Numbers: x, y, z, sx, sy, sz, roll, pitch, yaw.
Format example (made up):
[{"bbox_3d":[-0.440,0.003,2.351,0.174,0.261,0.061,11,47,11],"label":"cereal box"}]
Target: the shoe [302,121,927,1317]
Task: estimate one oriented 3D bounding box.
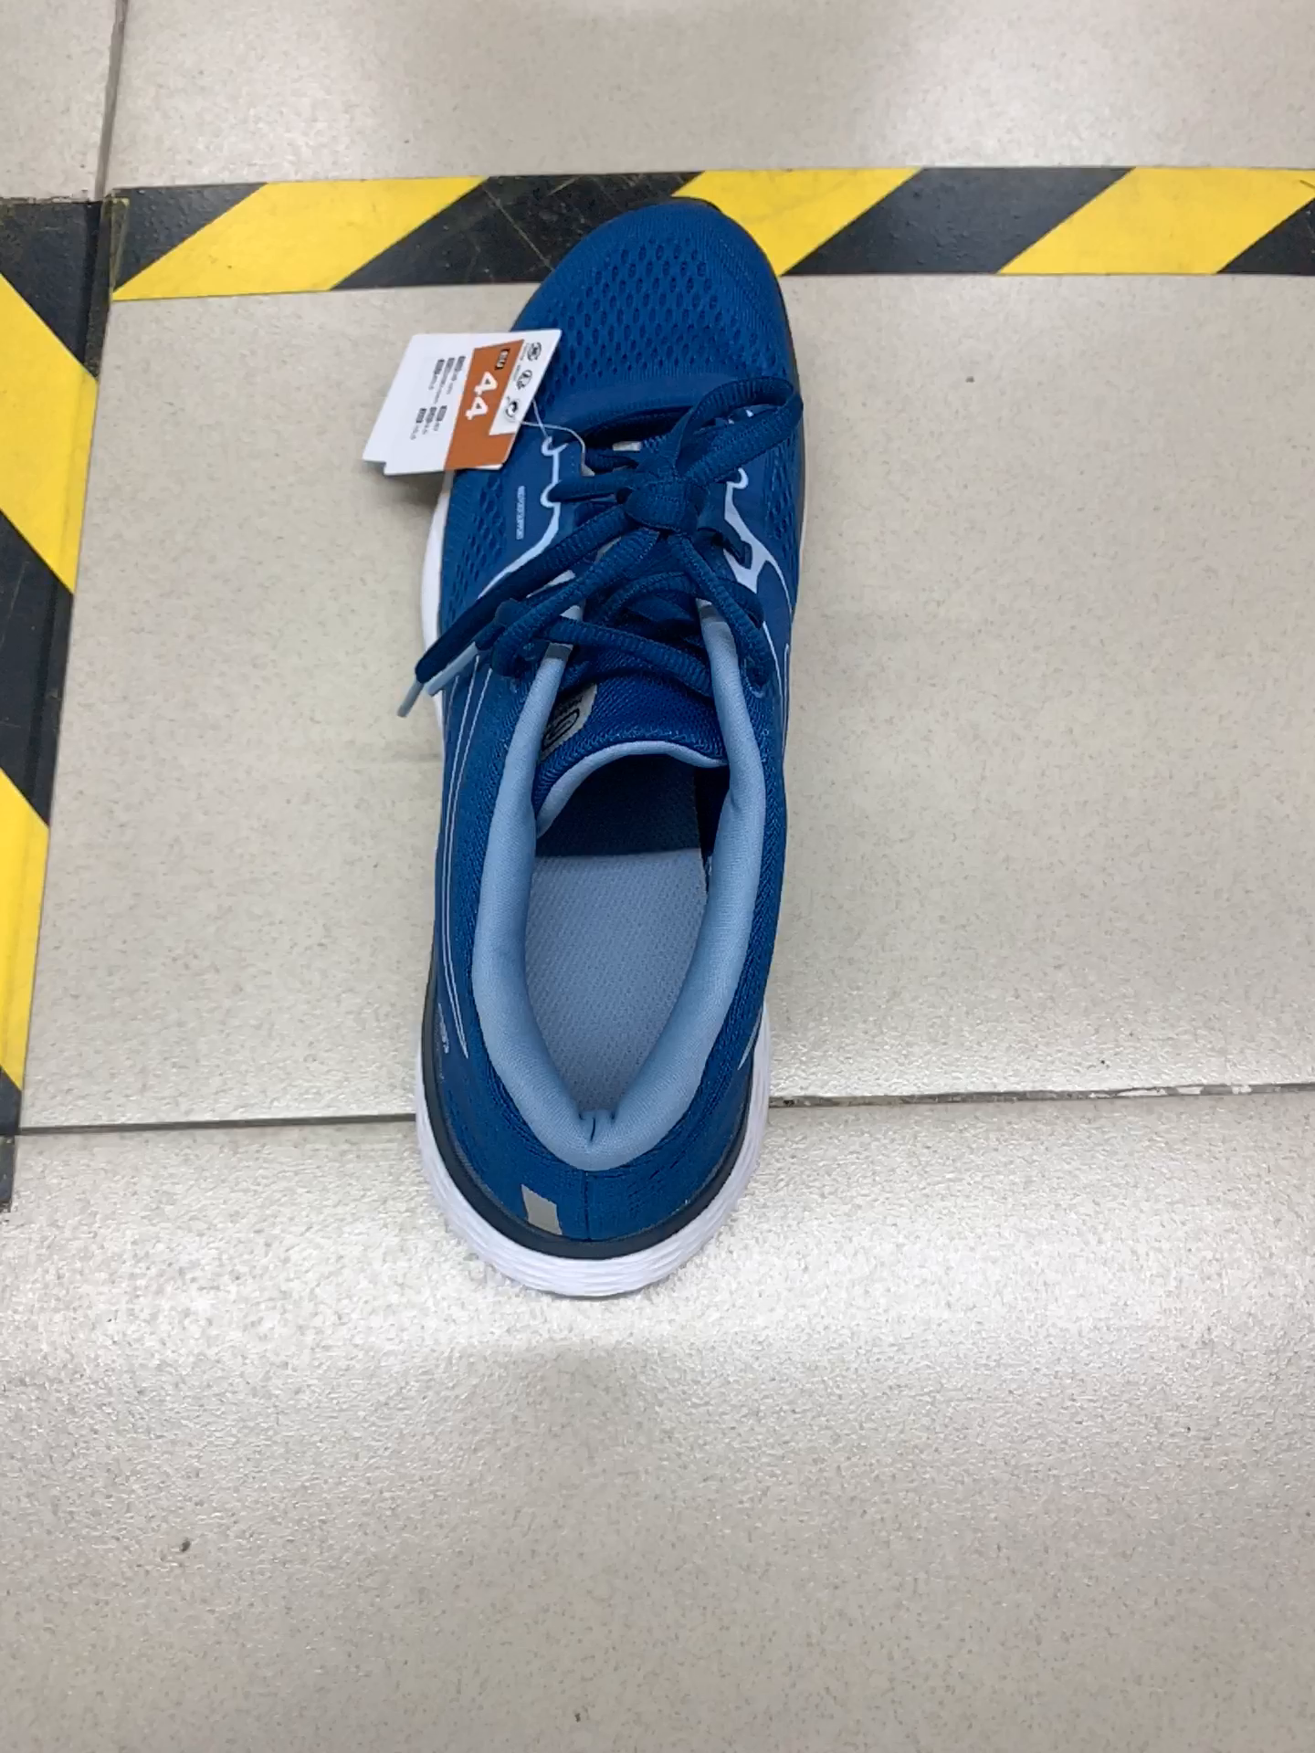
[{"bbox_3d":[-0.006,-0.050,0.329,0.110,0.070,0.290,2,66,-1],"label":"shoe"}]
